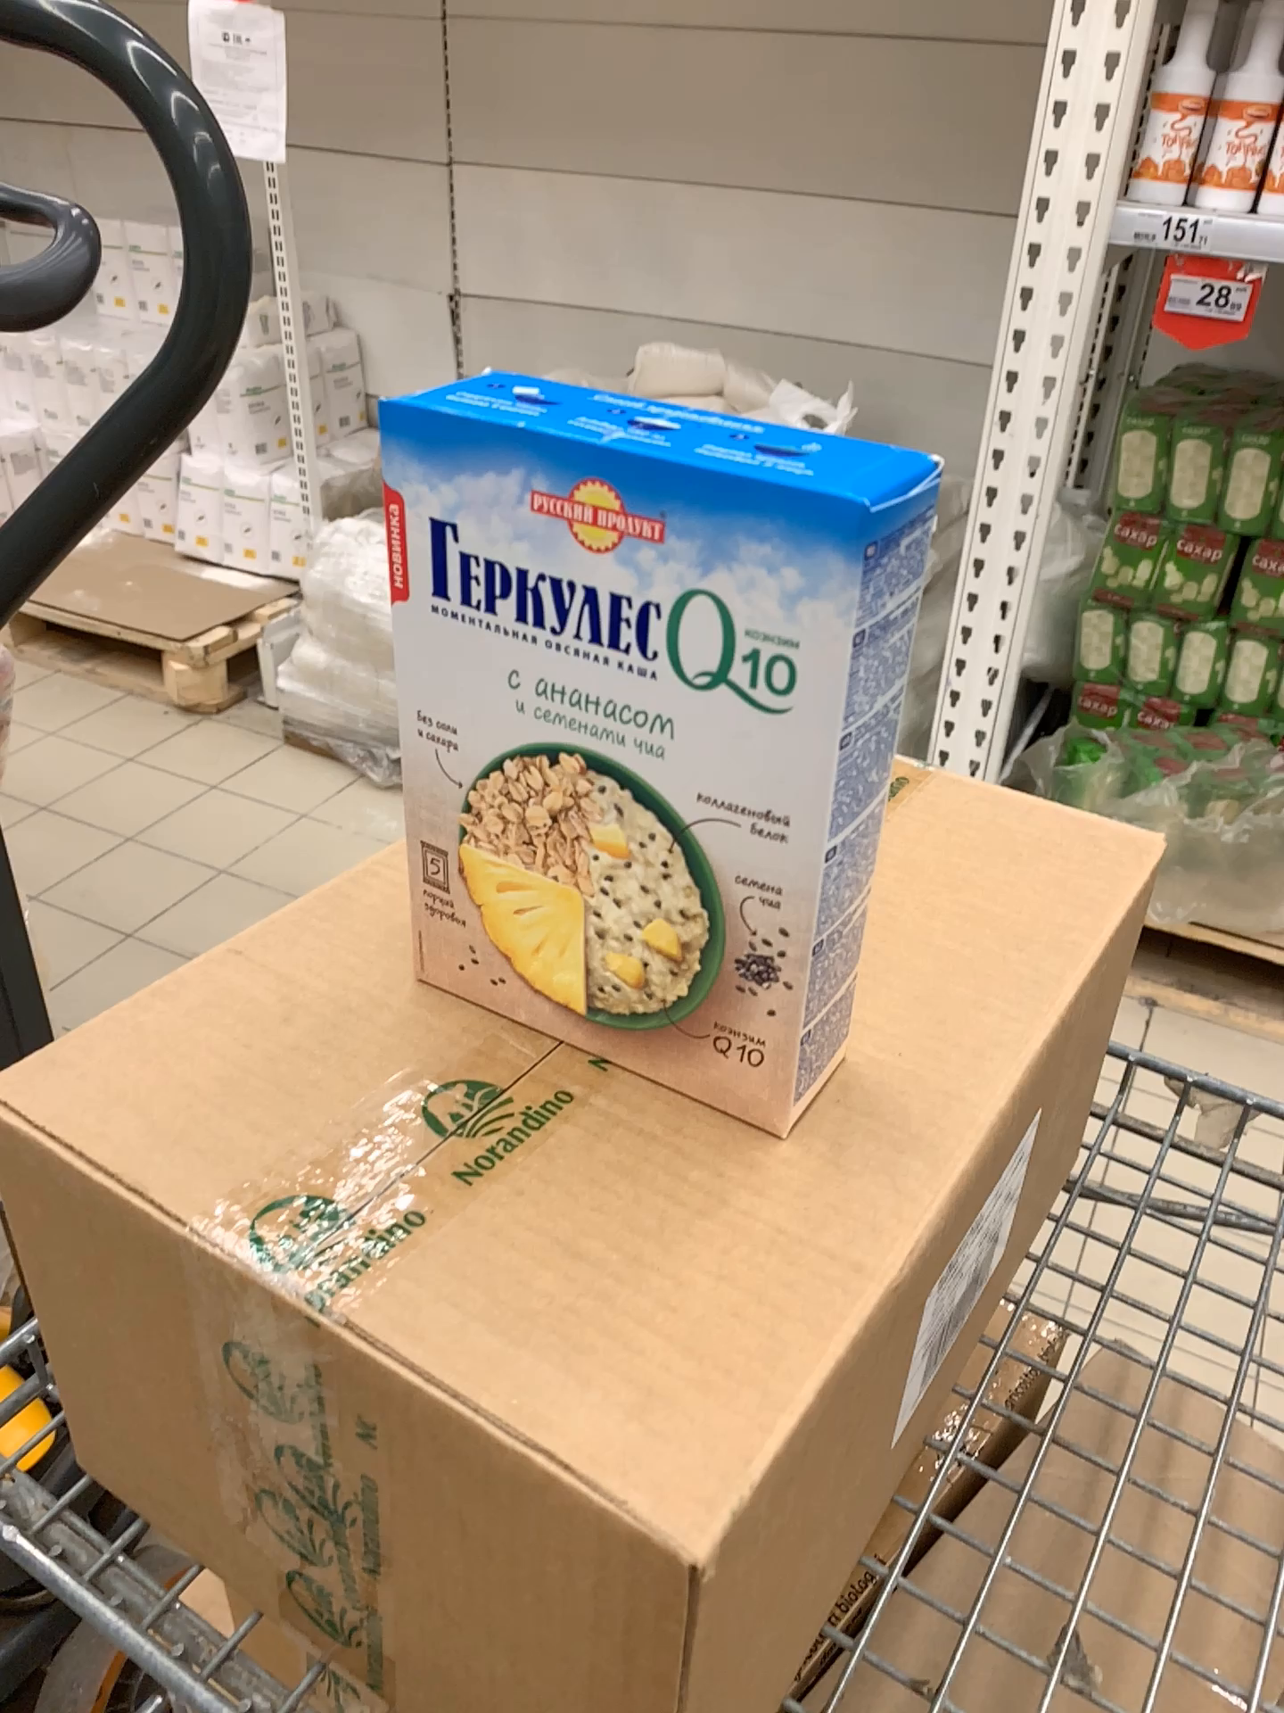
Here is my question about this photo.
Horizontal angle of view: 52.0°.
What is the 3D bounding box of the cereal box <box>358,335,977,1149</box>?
[{"bbox_3d":[0.000,-0.032,0.383,0.150,0.199,0.050,19,36,25],"label":"cereal box"}]
